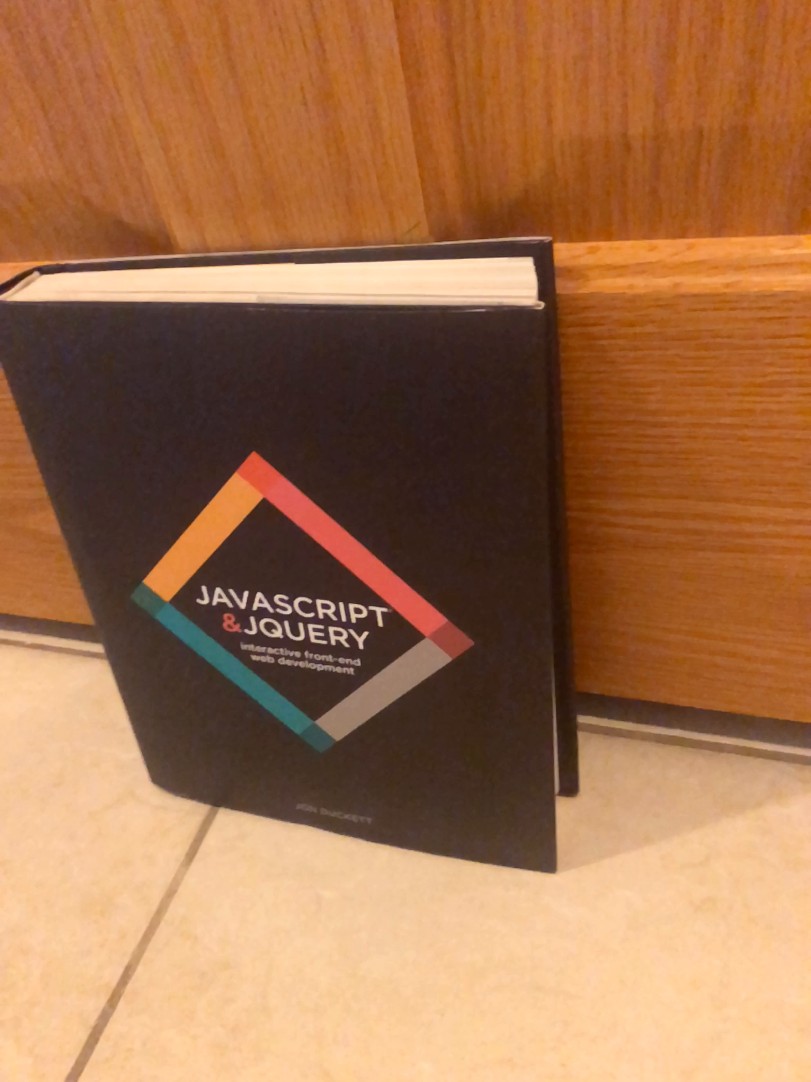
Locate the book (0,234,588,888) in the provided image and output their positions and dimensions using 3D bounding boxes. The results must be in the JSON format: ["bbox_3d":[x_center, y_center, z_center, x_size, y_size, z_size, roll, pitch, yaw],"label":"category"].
[{"bbox_3d":[-0.035,0.012,0.352,0.200,0.237,0.060,5,33,20],"label":"book"}]
